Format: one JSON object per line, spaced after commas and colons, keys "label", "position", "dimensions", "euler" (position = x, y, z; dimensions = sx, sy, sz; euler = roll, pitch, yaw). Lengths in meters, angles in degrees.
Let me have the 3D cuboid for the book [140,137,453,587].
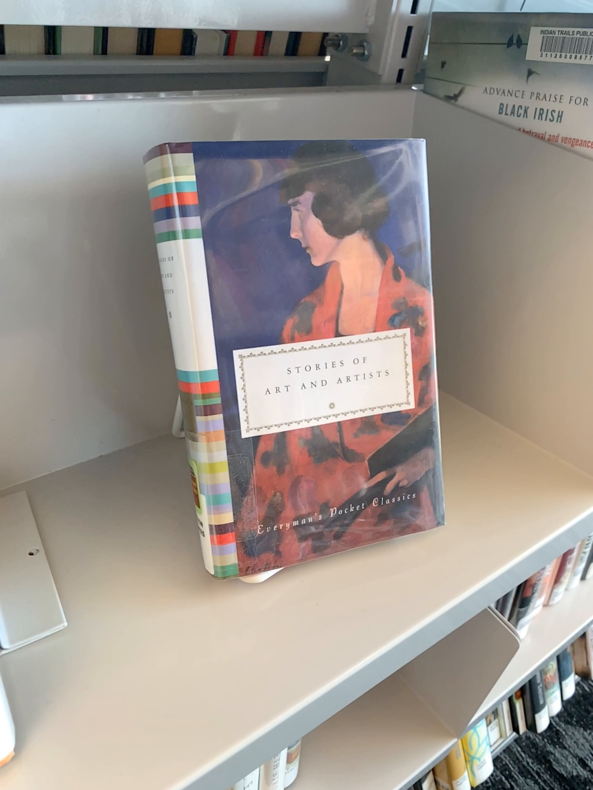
{"label": "book", "position": [0.005, -0.019, 0.291], "dimensions": [0.129, 0.187, 0.040], "euler": [-8, 12, -19]}
